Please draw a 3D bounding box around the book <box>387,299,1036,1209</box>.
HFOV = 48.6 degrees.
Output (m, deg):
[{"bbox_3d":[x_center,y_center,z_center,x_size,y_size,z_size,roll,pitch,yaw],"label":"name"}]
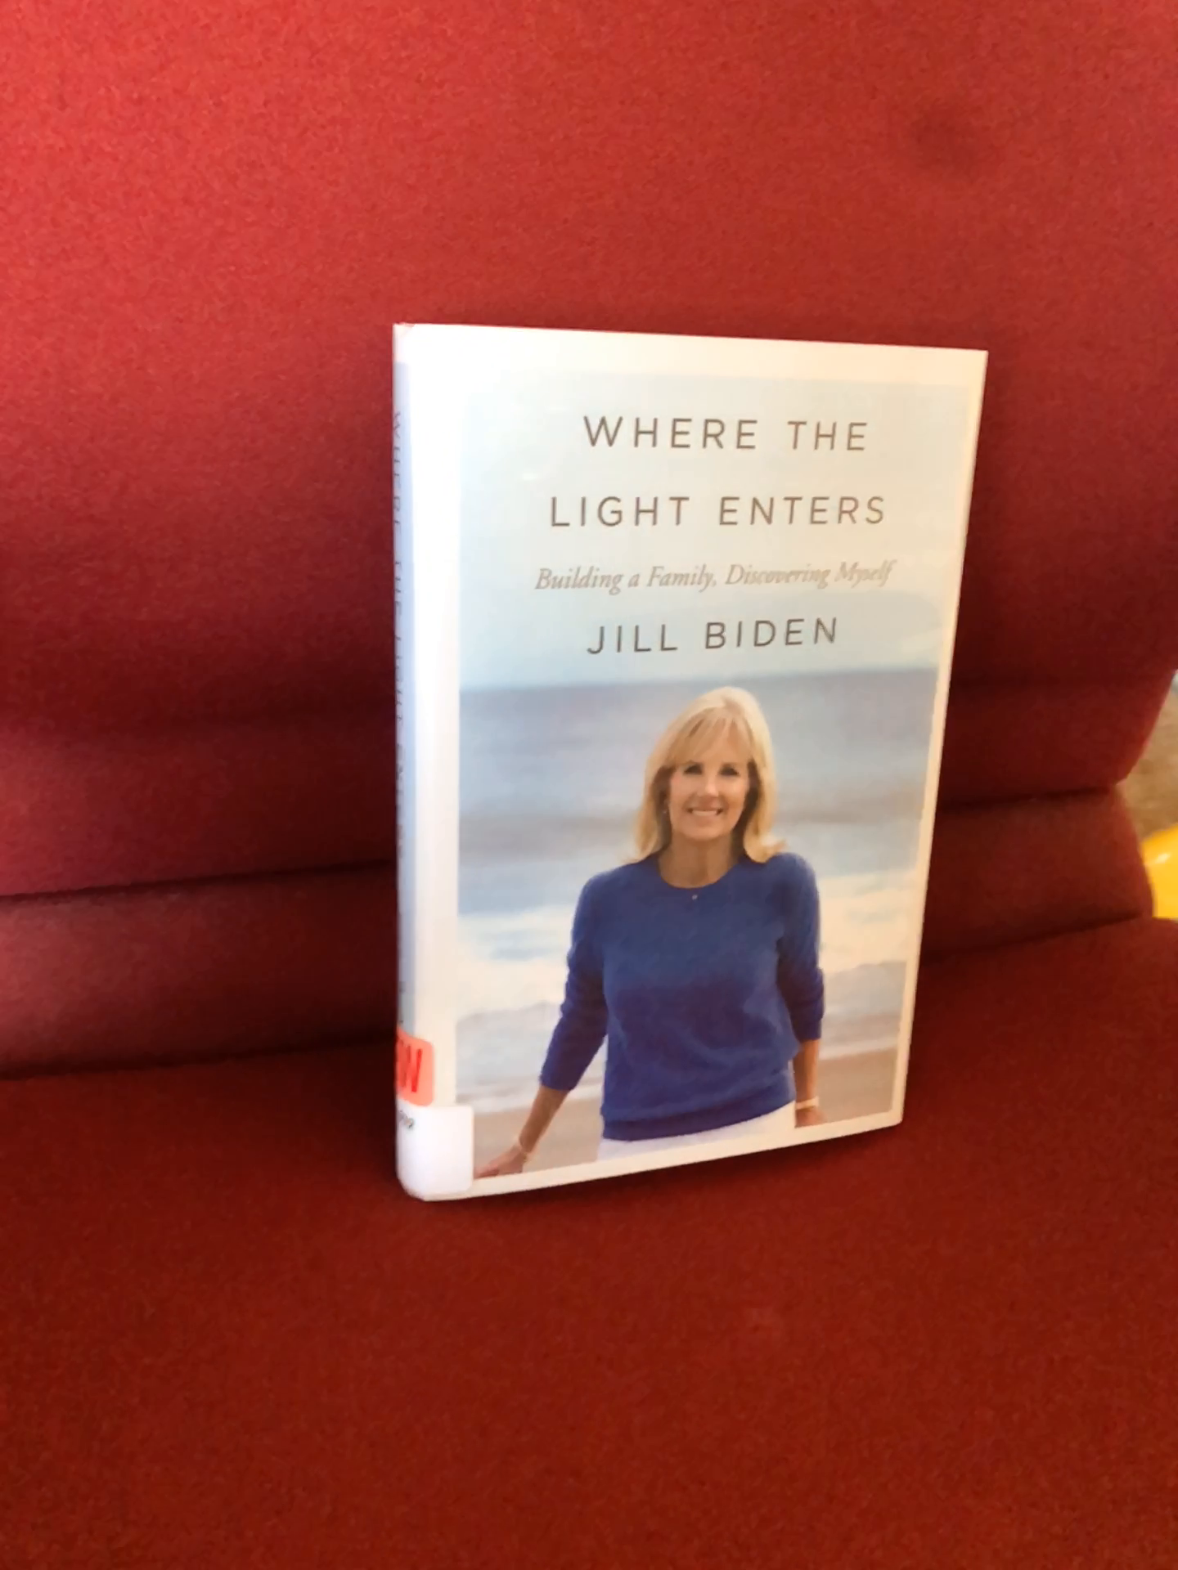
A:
[{"bbox_3d":[0.027,-0.005,0.329,0.150,0.210,0.030,-3,17,-19],"label":"book"}]
